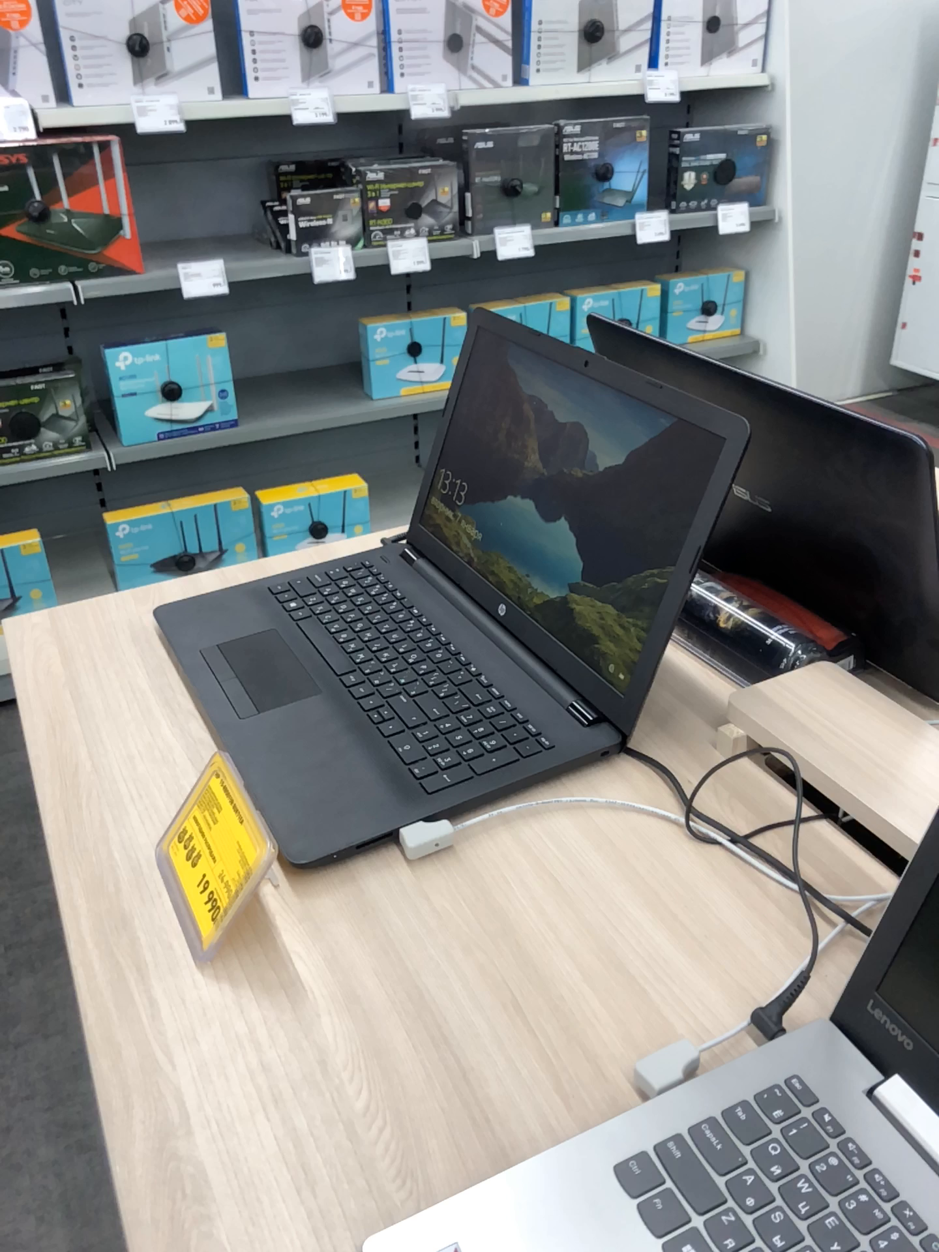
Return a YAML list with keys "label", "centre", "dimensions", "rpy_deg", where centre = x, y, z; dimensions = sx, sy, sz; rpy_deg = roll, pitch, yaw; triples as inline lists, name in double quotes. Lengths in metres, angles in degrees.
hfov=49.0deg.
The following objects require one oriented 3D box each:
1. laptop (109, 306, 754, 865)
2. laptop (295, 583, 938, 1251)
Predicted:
- label: "laptop"
  centre: [-0.051, -0.074, 0.798]
  dimensions: [0.341, 0.217, 0.378]
  rpy_deg: [-16, 33, -22]
- label: "laptop"
  centre: [0.178, 0.200, 0.282]
  dimensions: [0.339, 0.226, 0.372]
  rpy_deg: [-14, 31, -19]
